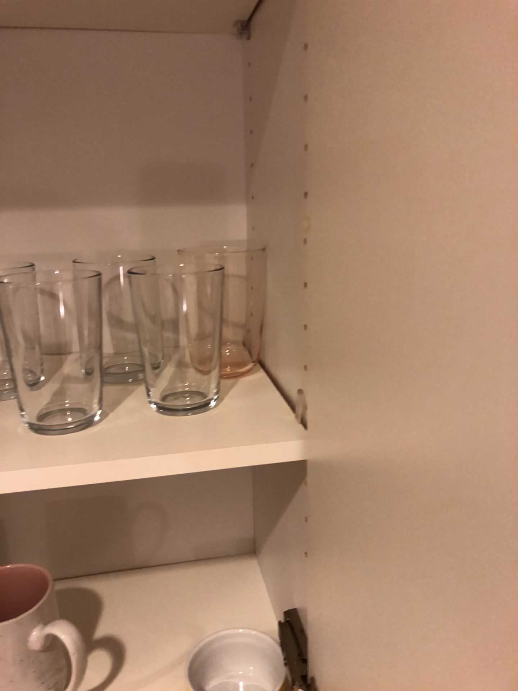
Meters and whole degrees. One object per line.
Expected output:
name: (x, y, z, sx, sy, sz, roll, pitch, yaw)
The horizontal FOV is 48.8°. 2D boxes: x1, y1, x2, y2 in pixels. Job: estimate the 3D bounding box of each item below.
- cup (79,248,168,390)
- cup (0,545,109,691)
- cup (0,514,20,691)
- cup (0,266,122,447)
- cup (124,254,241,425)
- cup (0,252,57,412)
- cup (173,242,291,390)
cup: (-0.132, -0.030, 0.555, 0.070, 0.120, 0.080, -5, 14, -16)
cup: (-0.213, 0.253, 0.467, 0.140, 0.110, 0.090, 5, 15, 24)
cup: (-0.335, 0.253, 0.573, 0.090, 0.090, 0.140, 6, 16, 29)
cup: (-0.151, 0.002, 0.429, 0.080, 0.110, 0.090, -5, 14, -16)
cup: (-0.065, -0.010, 0.471, 0.080, 0.120, 0.080, -1, 13, 0)
cup: (-0.230, -0.018, 0.507, 0.080, 0.120, 0.090, -5, 14, -16)
cup: (-0.028, -0.034, 0.547, 0.090, 0.120, 0.100, -5, 14, -14)
